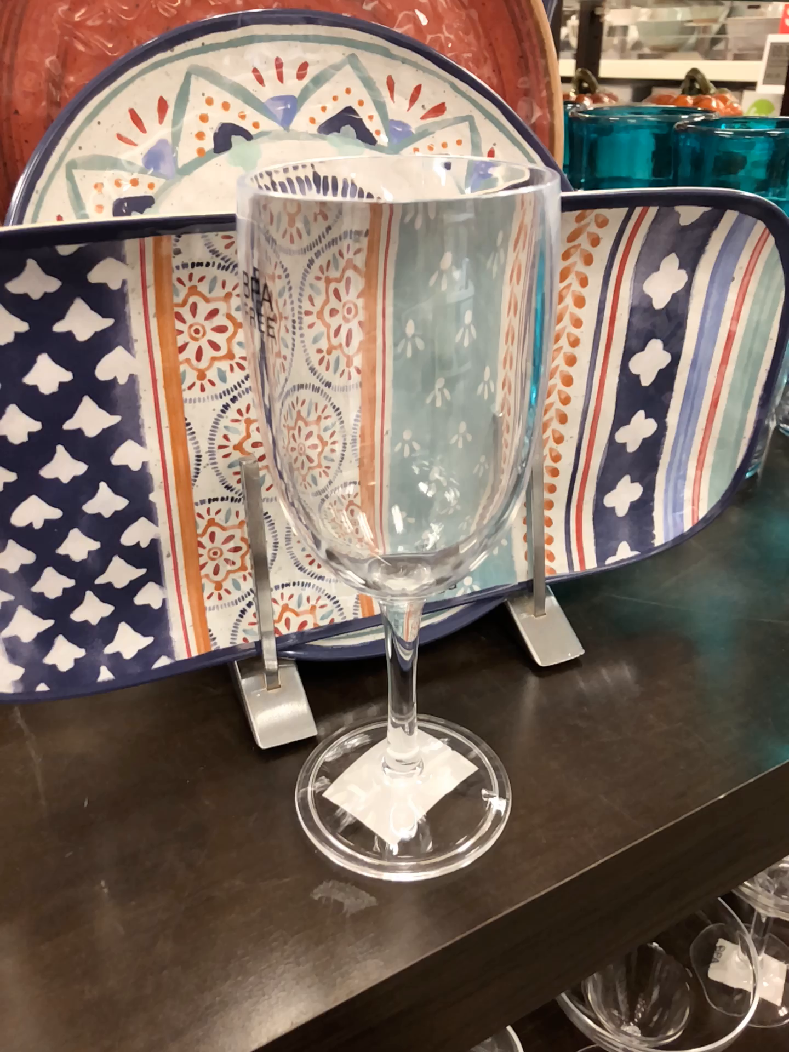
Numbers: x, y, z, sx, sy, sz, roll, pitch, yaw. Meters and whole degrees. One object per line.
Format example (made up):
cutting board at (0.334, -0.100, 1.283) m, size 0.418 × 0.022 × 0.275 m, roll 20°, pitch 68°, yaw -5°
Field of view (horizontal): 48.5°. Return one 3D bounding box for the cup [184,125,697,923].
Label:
cup at (0.008, -0.003, 0.256) m, size 0.090 × 0.200 × 0.085 m, roll -1°, pitch 29°, yaw 0°
